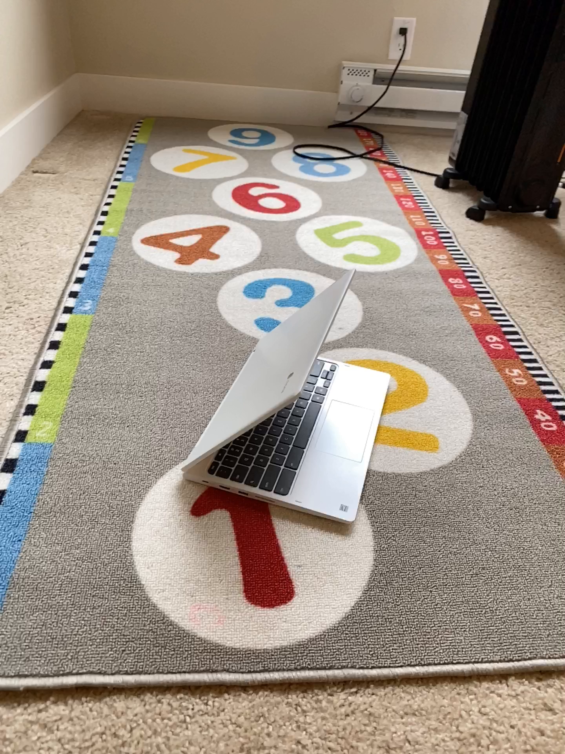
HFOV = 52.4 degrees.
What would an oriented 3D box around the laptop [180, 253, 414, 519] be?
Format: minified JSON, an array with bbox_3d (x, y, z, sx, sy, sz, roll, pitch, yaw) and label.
[{"bbox_3d":[0.030,-0.009,0.744,0.216,0.164,0.295,13,37,11],"label":"laptop"}]
